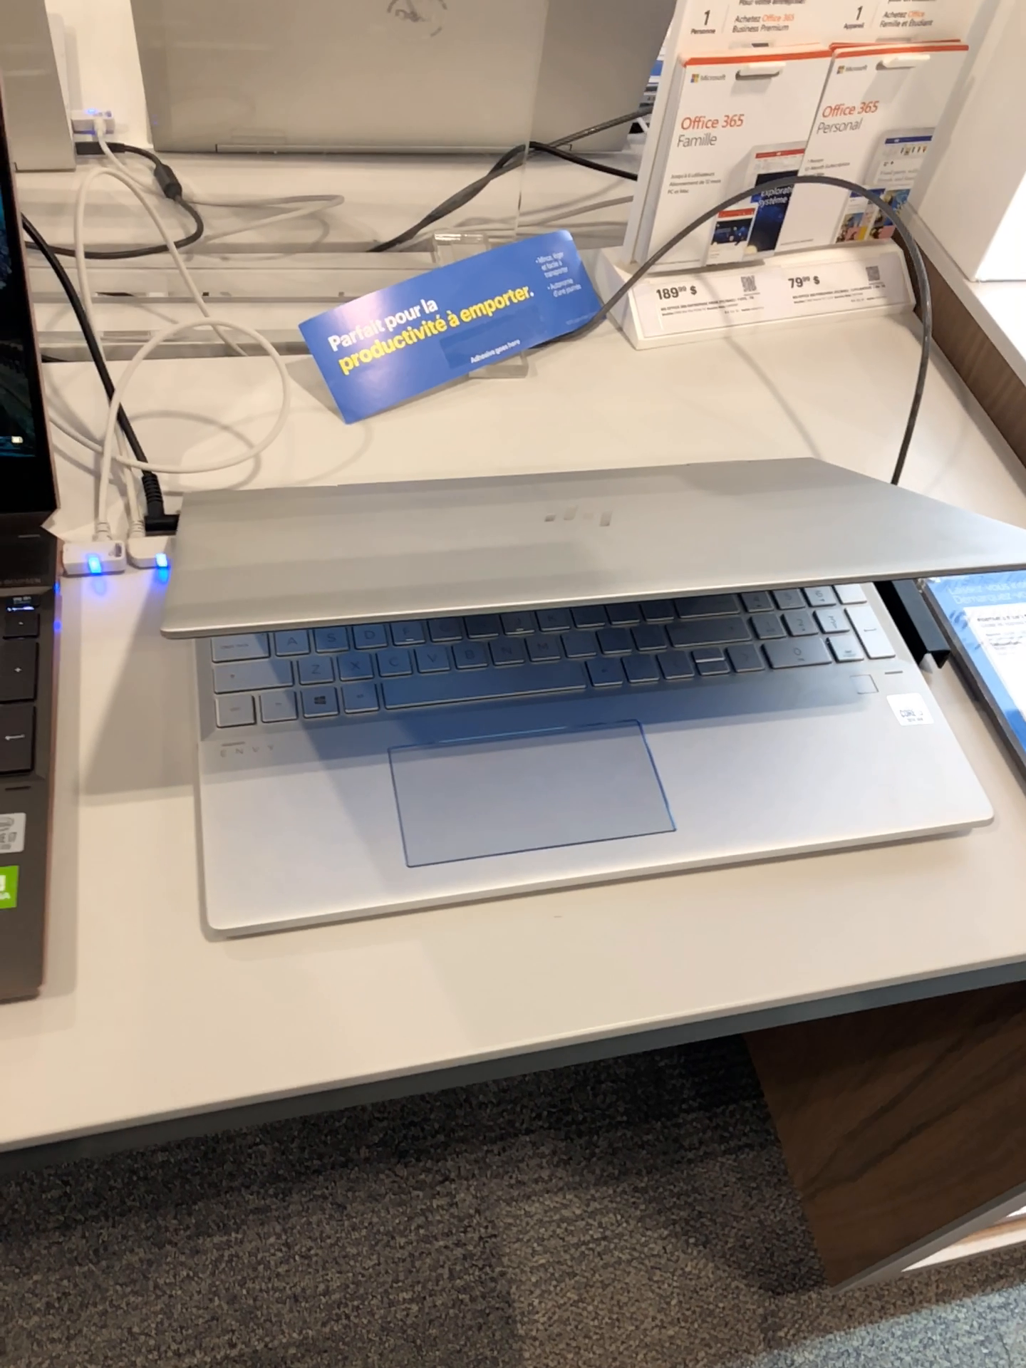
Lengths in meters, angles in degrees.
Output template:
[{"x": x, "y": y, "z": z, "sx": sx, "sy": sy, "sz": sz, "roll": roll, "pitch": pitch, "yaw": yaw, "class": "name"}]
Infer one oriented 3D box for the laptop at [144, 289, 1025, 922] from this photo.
[{"x": 0.029, "y": -0.049, "z": 0.493, "sx": 0.346, "sy": 0.116, "sz": 0.230, "roll": -5, "pitch": 54, "yaw": -12, "class": "laptop"}]
